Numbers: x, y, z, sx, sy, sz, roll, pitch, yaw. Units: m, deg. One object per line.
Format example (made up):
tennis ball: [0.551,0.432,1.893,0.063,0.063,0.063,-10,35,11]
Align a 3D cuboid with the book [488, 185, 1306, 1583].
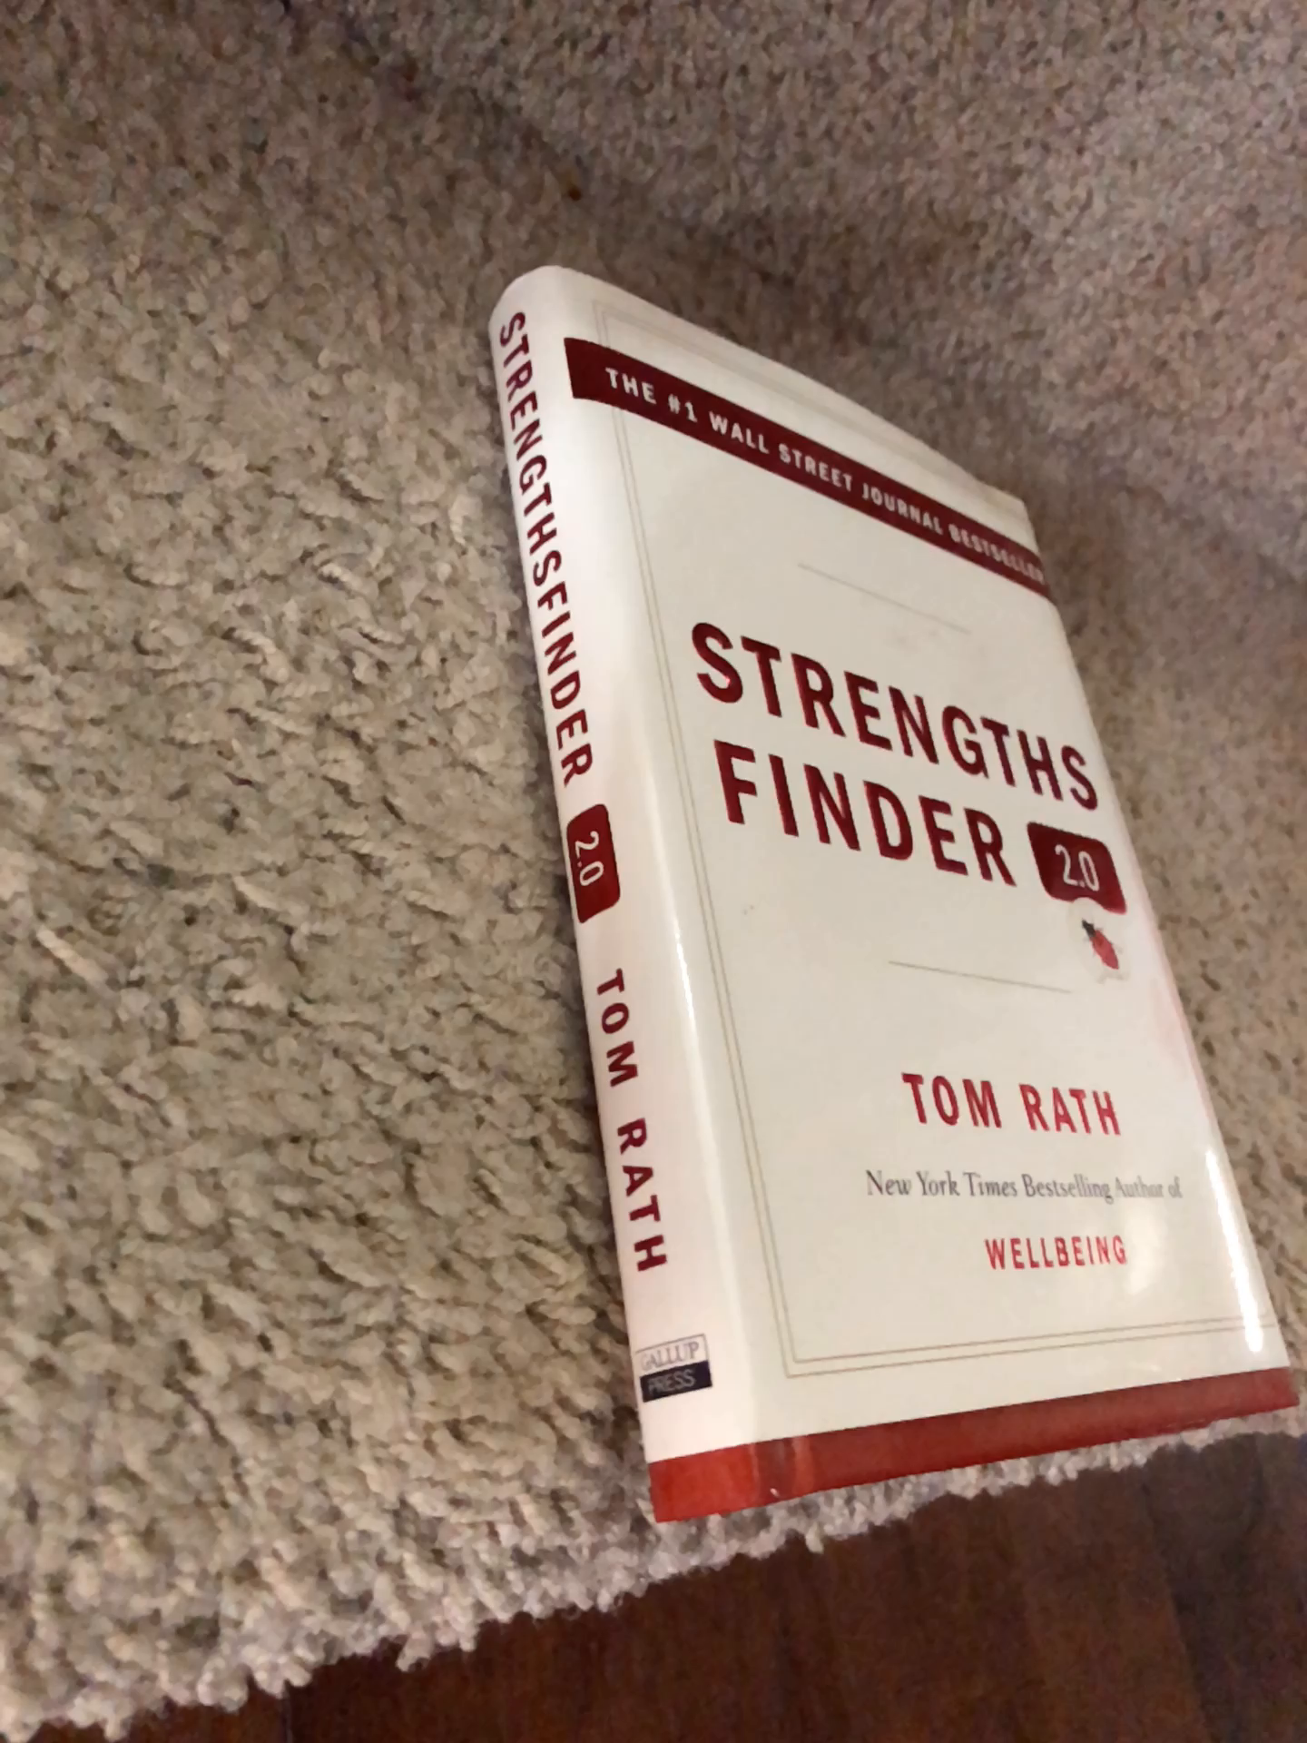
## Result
book: [0.046,-0.001,0.237,0.137,0.029,0.190,13,59,-40]
